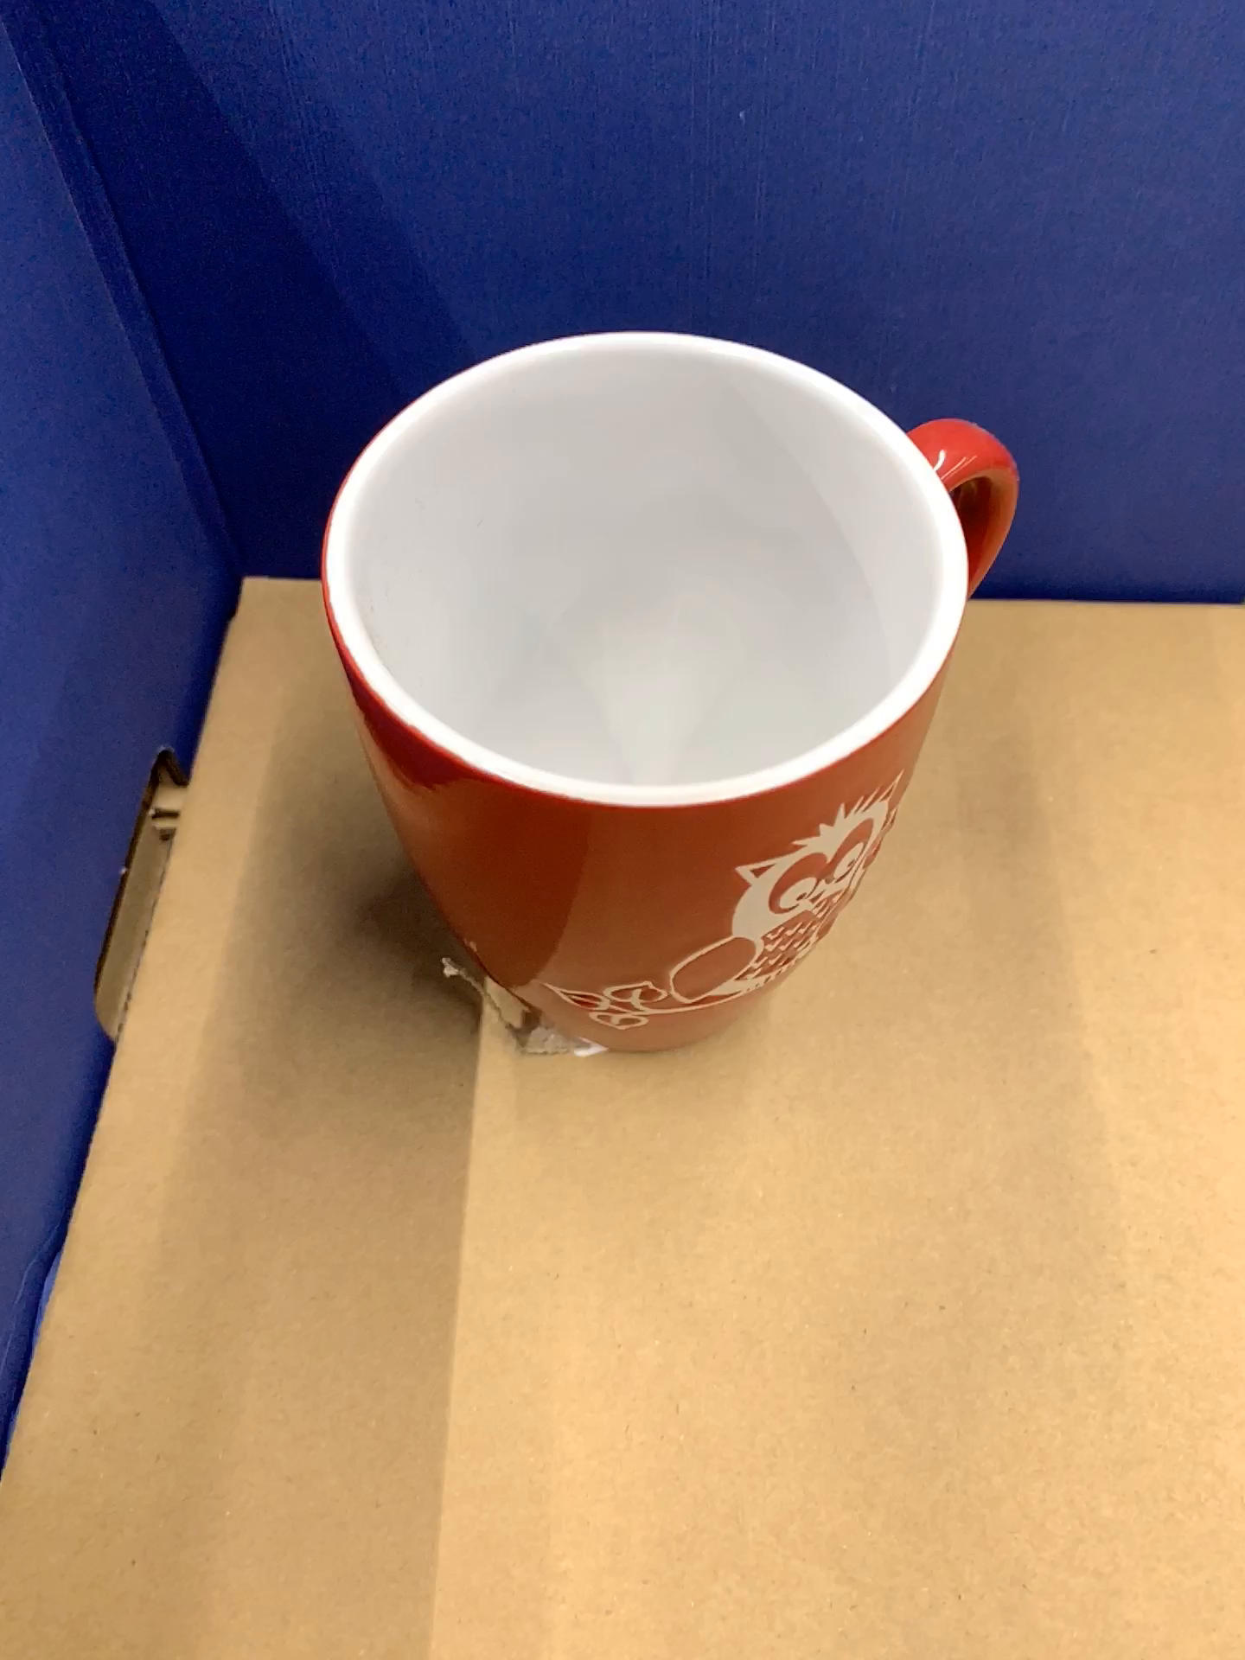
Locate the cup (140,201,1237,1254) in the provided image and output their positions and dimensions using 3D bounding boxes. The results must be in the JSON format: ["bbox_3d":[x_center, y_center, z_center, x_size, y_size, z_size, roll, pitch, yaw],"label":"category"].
[{"bbox_3d":[0.012,-0.020,0.220,0.100,0.091,0.120,38,64,25],"label":"cup"}]
